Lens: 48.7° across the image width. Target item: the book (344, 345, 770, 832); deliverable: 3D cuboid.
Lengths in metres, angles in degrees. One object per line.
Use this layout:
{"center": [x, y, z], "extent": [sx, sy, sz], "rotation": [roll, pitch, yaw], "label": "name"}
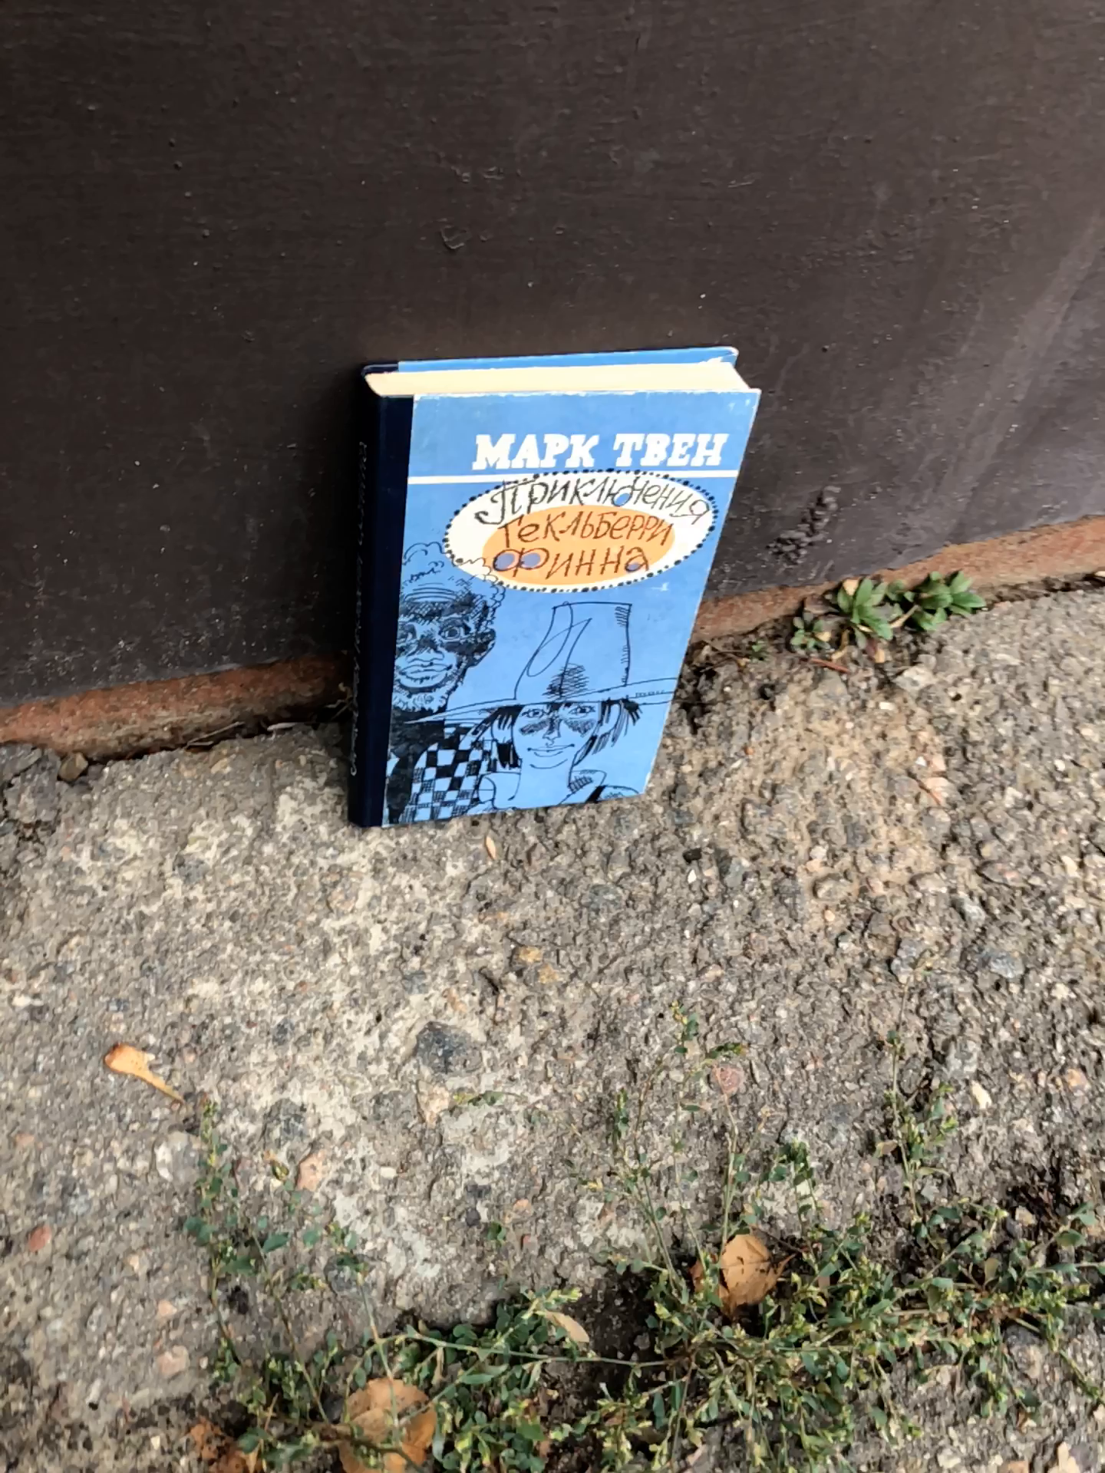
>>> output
{"center": [-0.006, -0.046, 0.444], "extent": [0.130, 0.186, 0.030], "rotation": [-6, 45, -13], "label": "book"}
